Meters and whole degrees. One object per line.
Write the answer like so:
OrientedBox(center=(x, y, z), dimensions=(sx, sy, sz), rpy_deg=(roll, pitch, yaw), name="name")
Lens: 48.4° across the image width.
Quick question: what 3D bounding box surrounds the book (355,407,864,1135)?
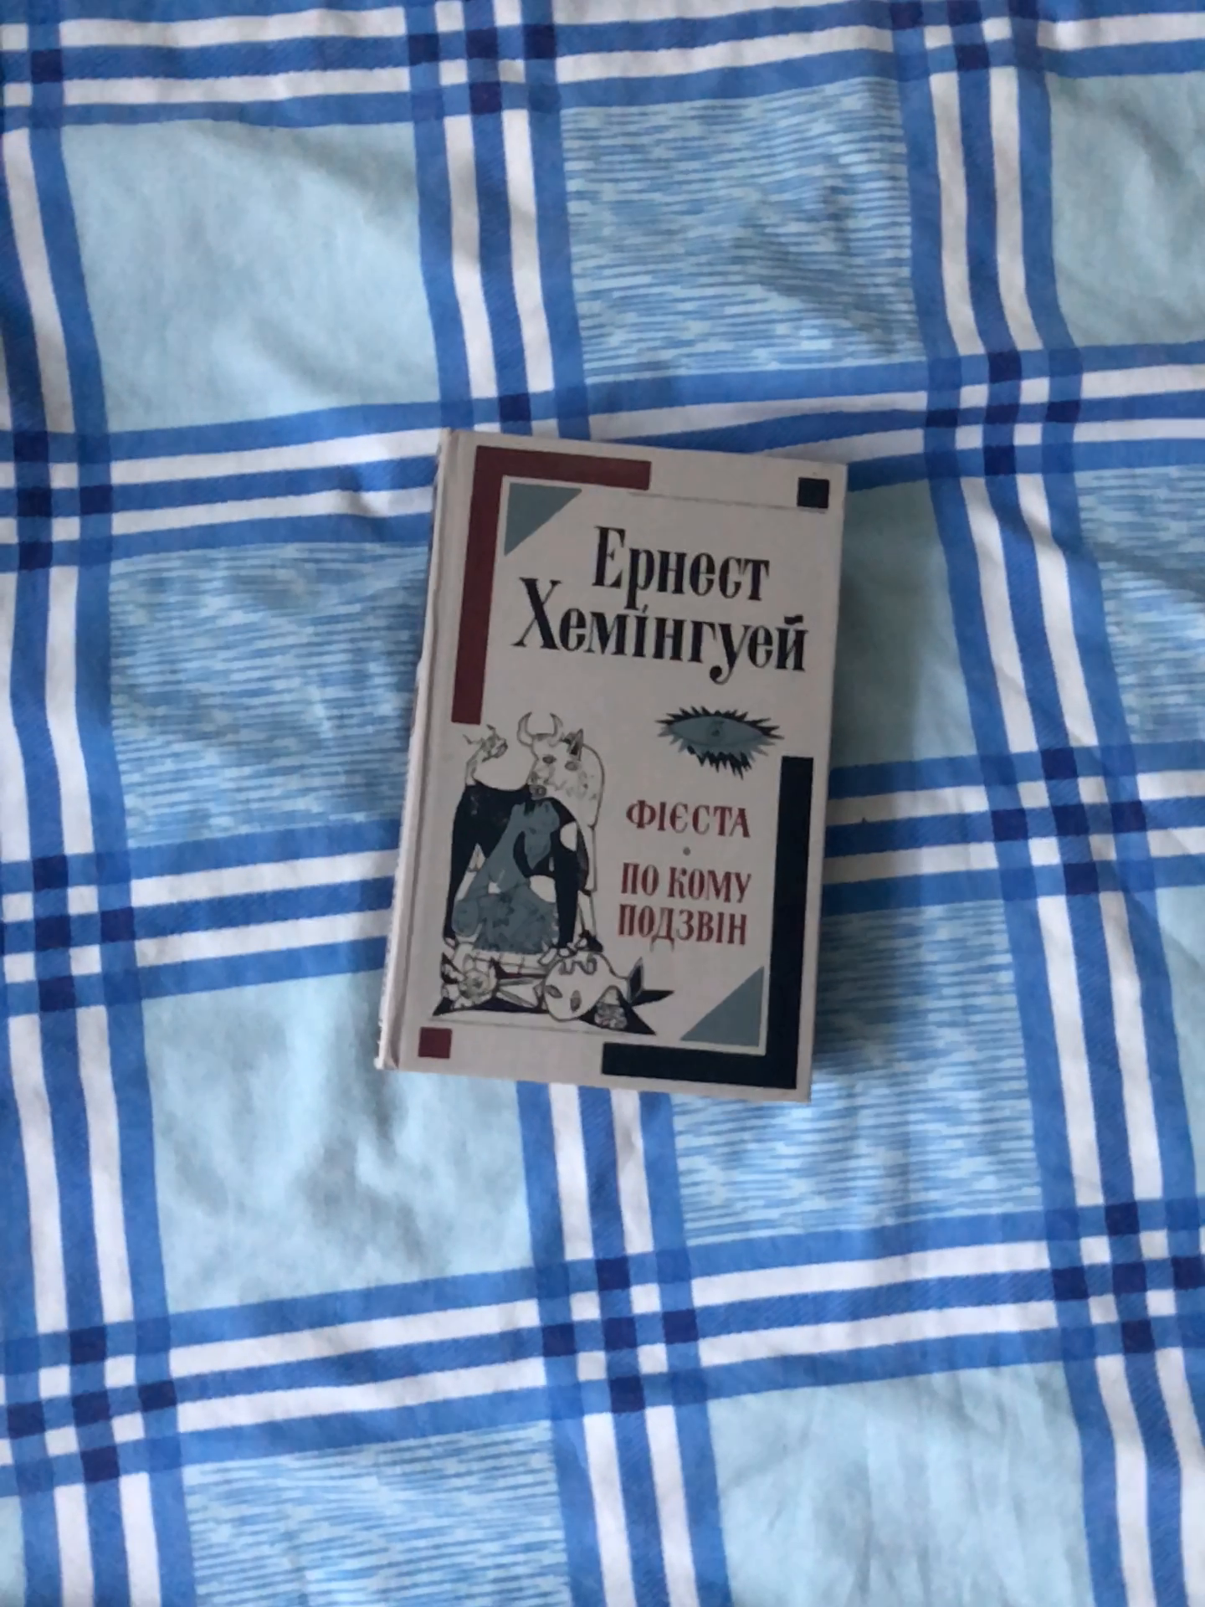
OrientedBox(center=(0.005, -0.012, 0.442), dimensions=(0.142, 0.040, 0.220), rpy_deg=(5, 83, 0), name="book")
